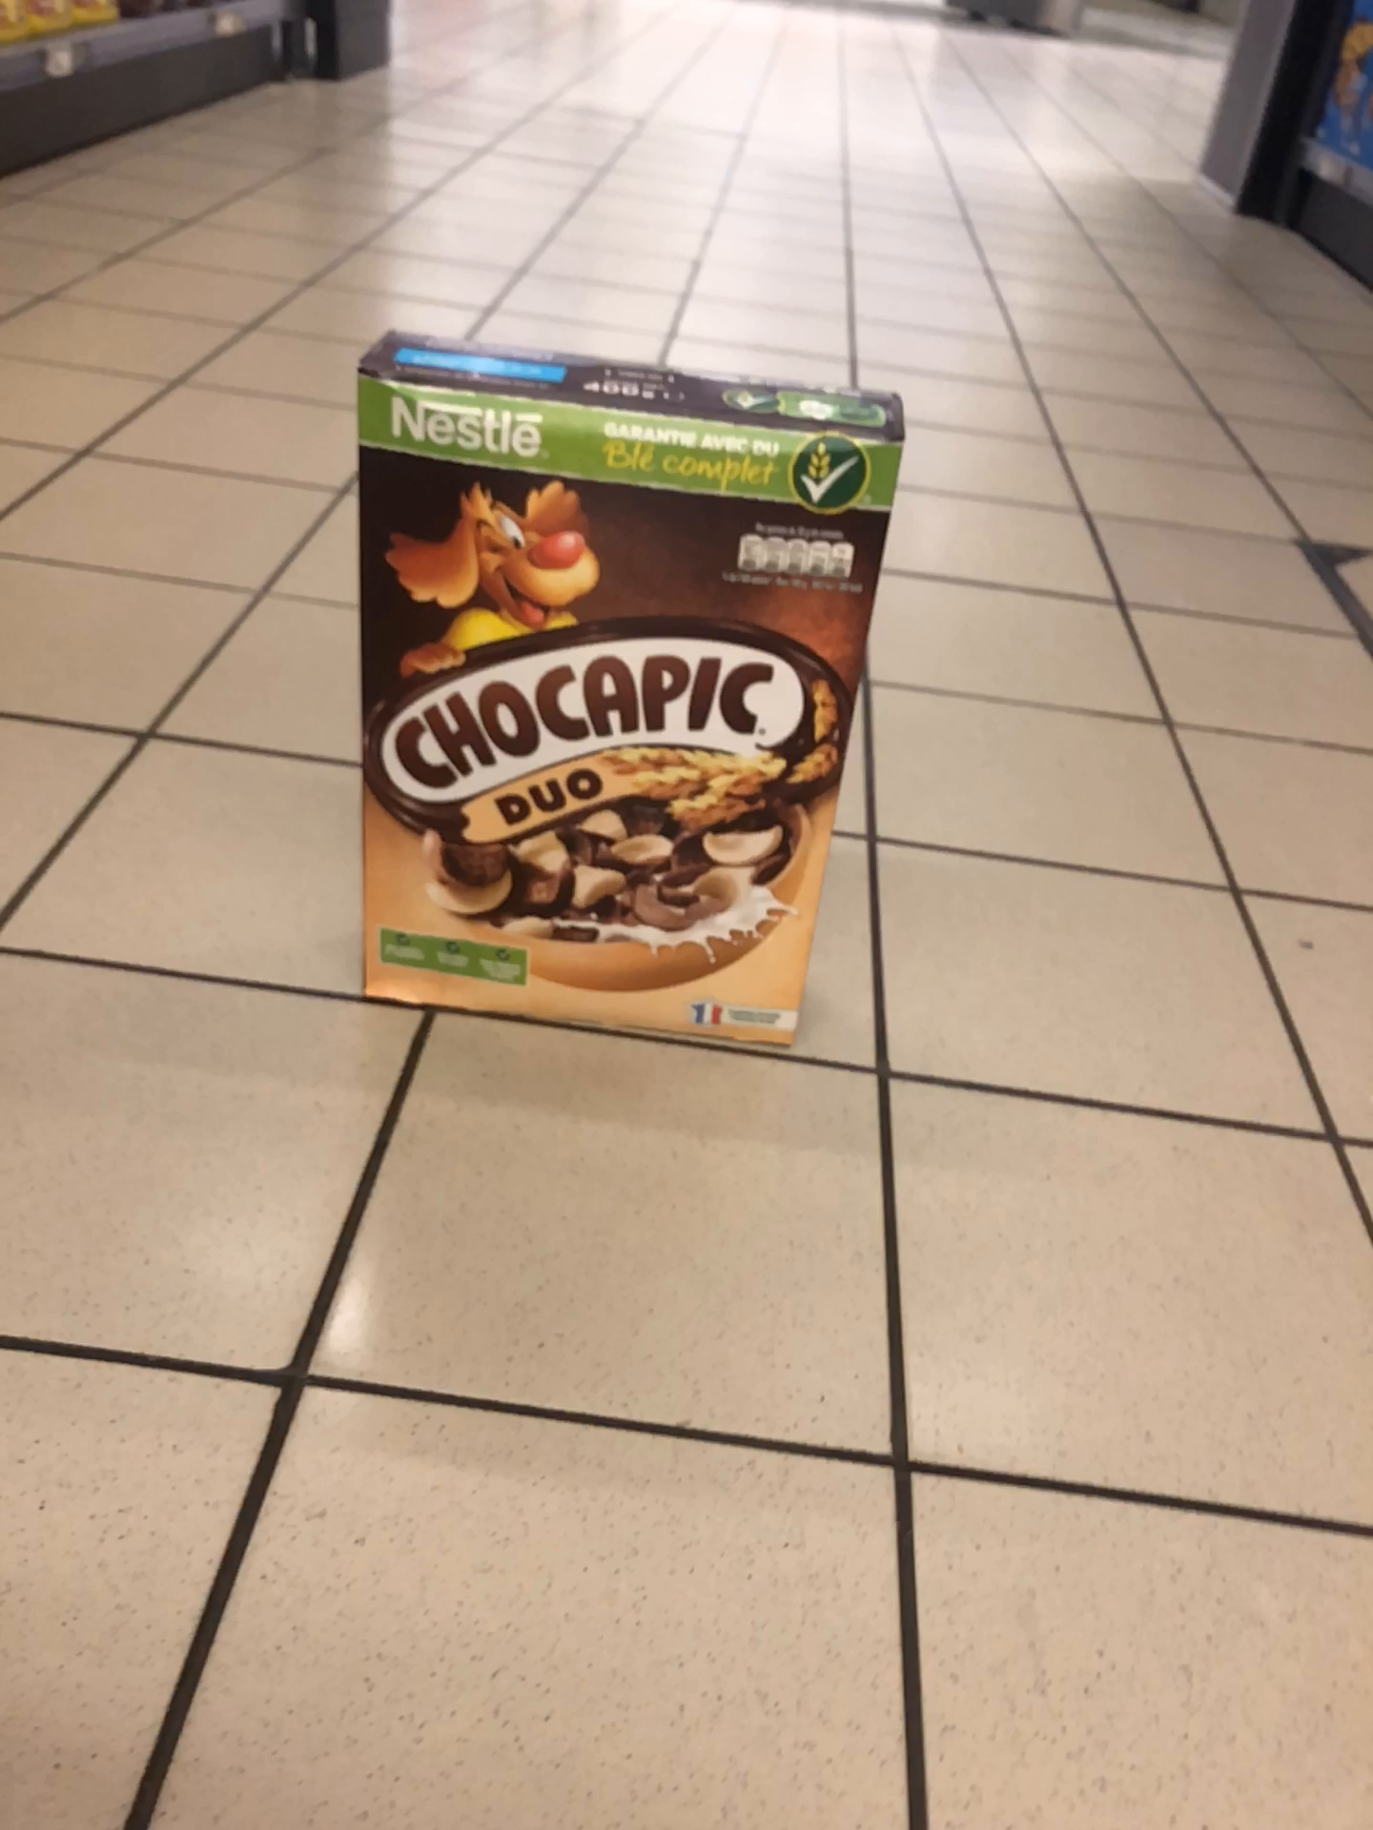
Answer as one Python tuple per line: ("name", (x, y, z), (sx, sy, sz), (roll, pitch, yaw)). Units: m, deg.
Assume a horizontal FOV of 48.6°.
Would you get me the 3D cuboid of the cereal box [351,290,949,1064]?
("cereal box", (-0.026, -0.083, 0.607), (0.200, 0.278, 0.060), (8, 31, -1))
